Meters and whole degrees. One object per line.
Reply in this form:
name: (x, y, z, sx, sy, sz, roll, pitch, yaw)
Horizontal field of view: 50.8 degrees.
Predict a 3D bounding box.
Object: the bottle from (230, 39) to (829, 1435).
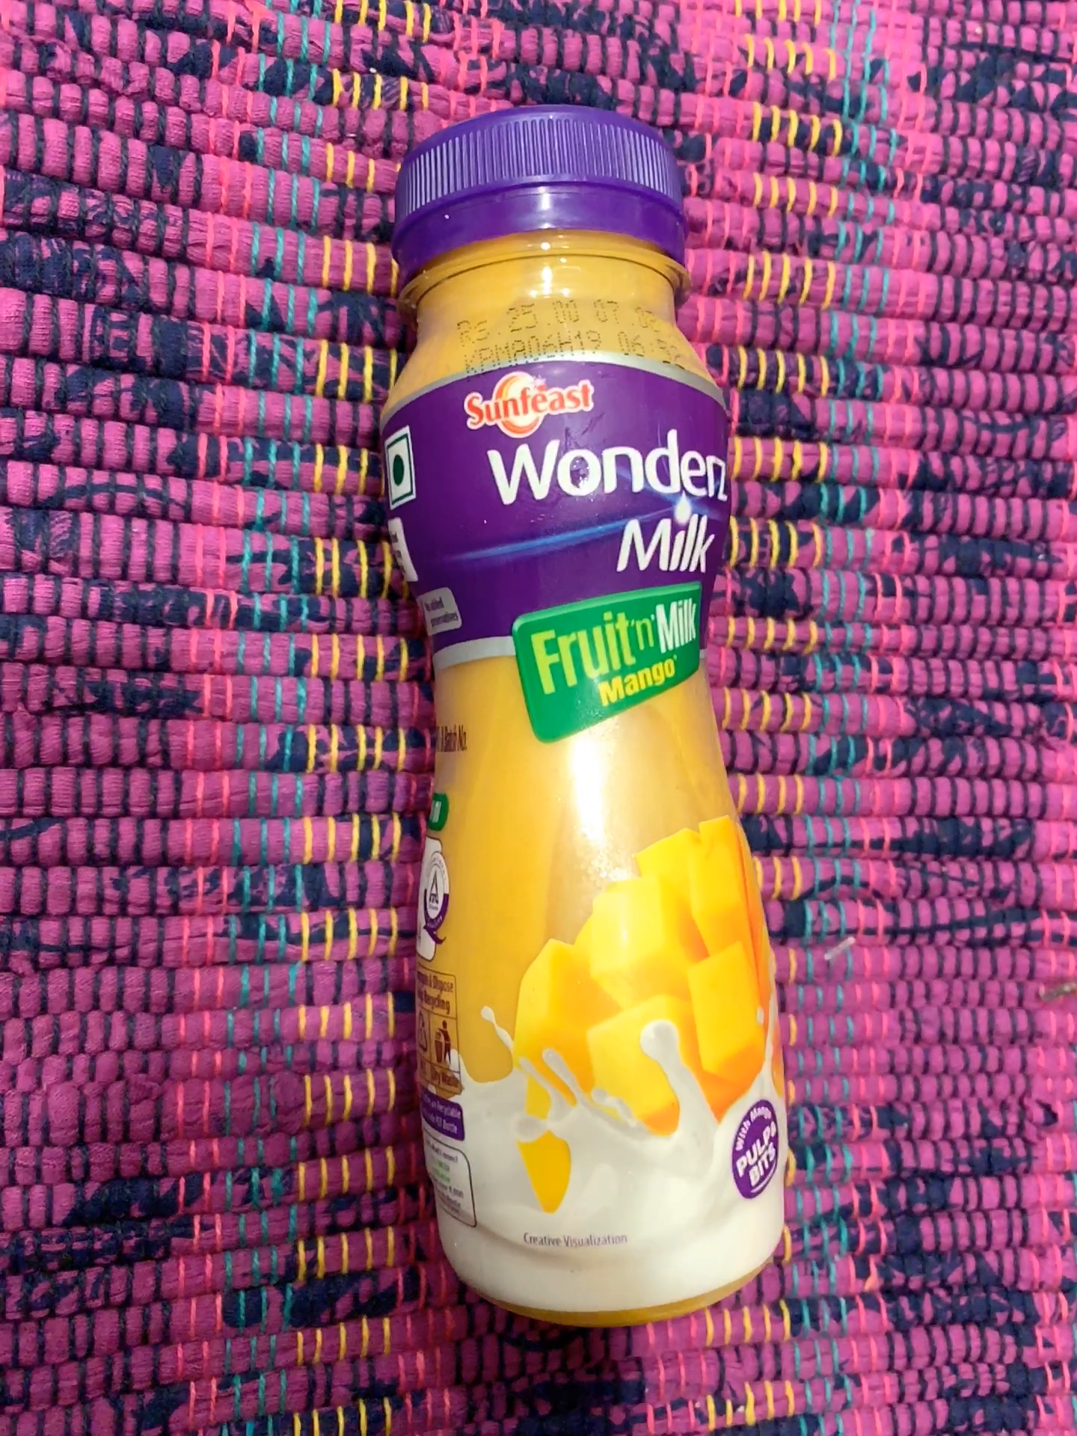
bottle: (-0.005, 0.003, 0.142, 0.050, 0.040, 0.150, -6, 89, -18)
